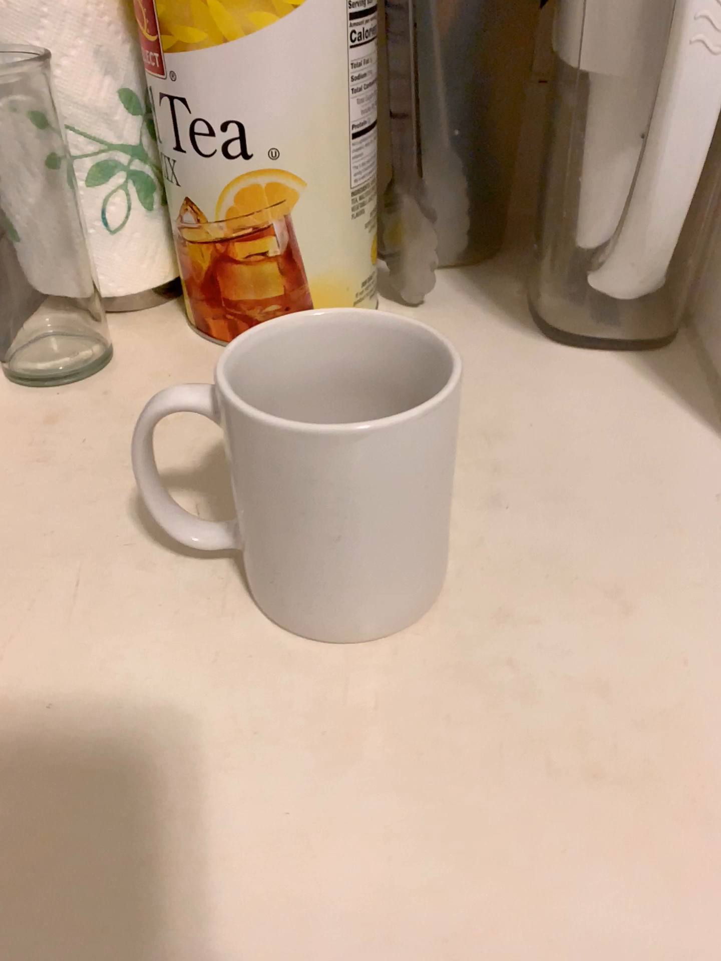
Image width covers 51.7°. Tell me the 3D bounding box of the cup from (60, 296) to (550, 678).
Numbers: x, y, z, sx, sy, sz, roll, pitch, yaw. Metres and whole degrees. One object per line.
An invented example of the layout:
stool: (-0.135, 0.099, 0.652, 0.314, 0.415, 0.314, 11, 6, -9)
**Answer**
cup: (-0.017, 0.002, 0.282, 0.140, 0.109, 0.091, -1, 38, -1)
